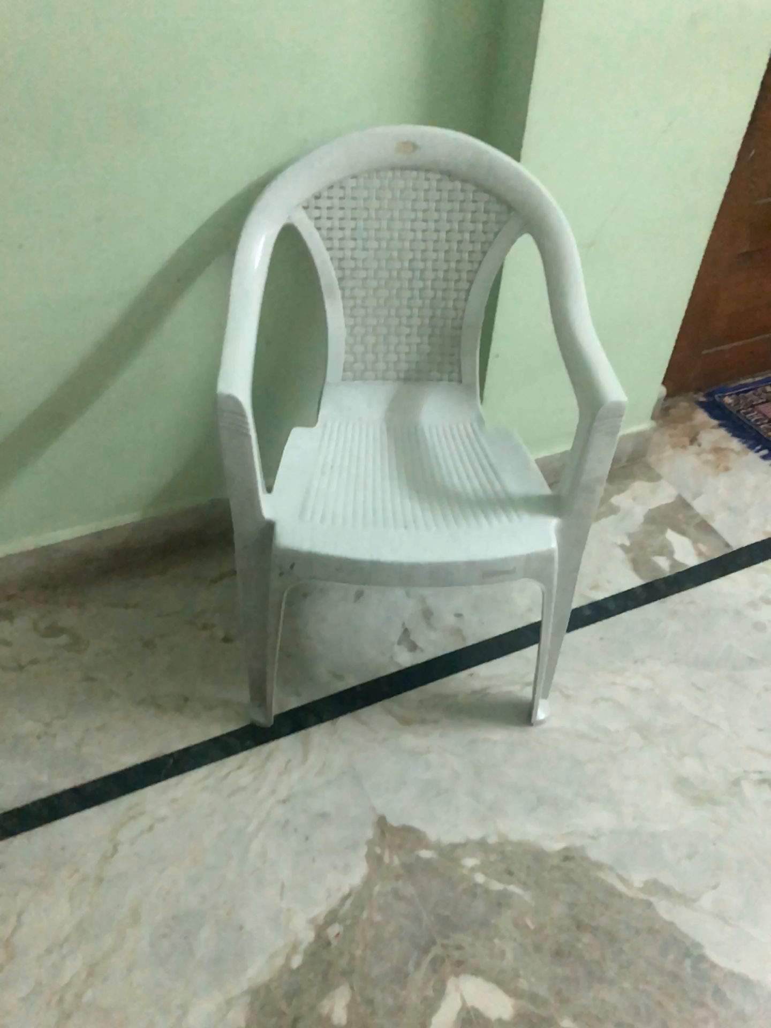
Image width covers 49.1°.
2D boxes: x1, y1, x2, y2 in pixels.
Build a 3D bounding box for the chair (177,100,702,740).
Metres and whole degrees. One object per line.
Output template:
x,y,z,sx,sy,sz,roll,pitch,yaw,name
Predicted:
0.038,-0.112,1.326,0.530,0.825,0.533,2,43,-2,chair
